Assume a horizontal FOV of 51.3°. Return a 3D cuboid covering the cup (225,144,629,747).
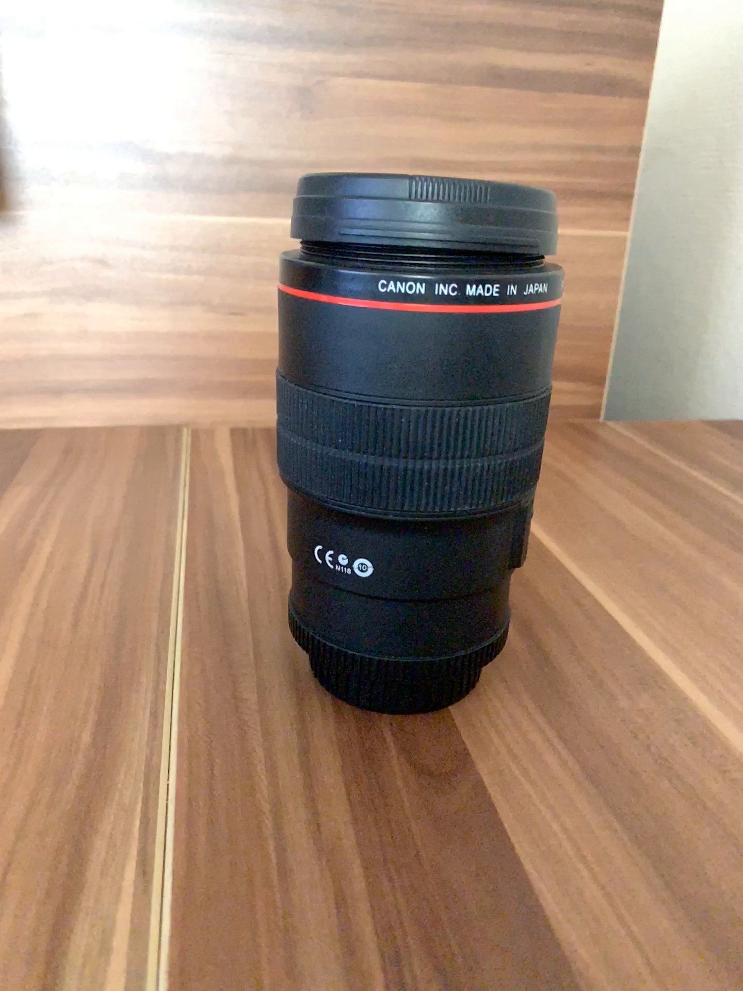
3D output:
[{"bbox_3d":[0.006,-0.020,0.219,0.070,0.139,0.080,-8,24,-26],"label":"cup"}]
